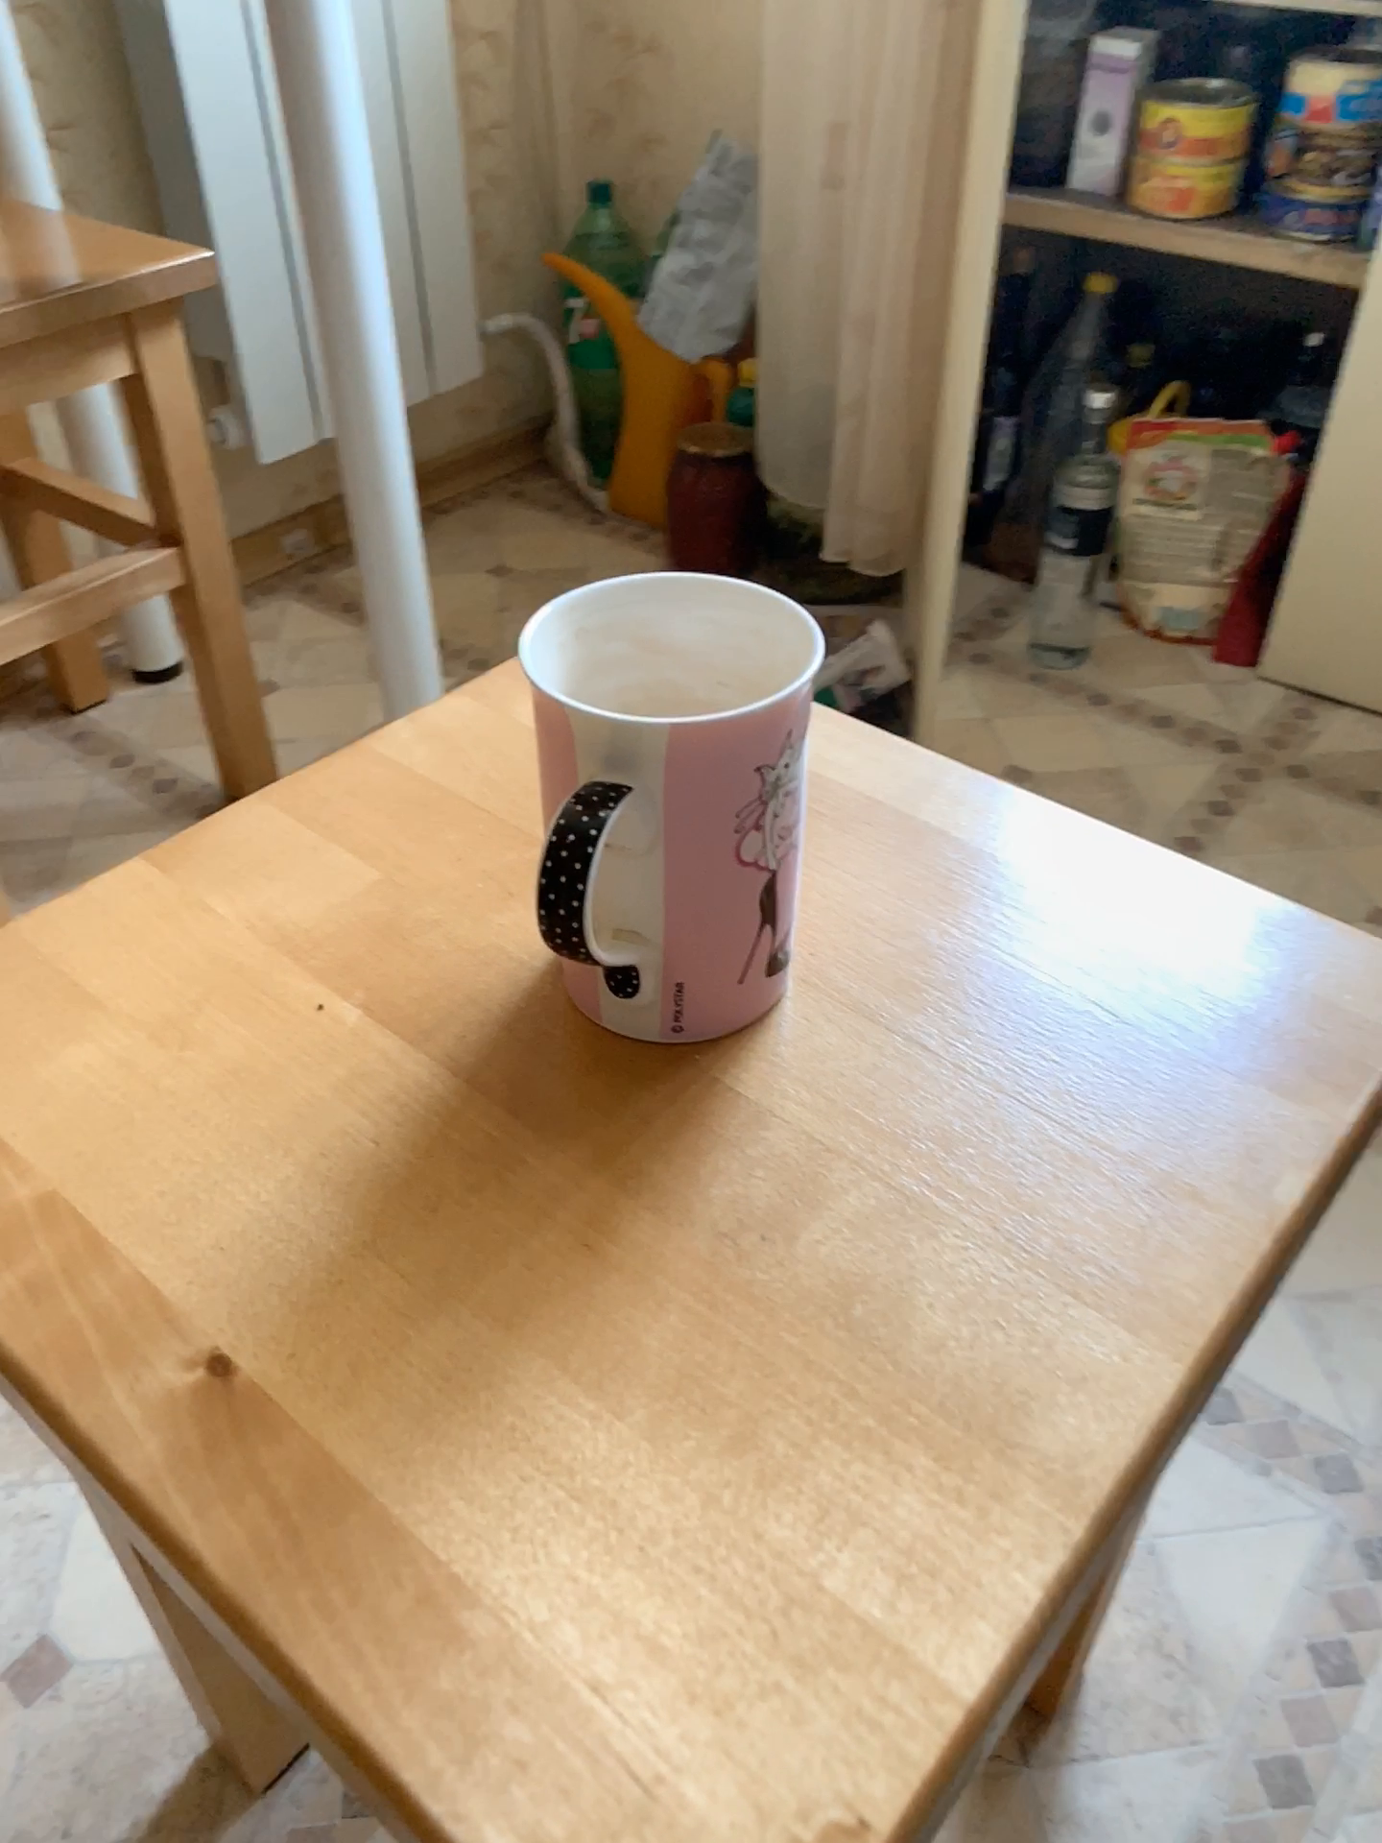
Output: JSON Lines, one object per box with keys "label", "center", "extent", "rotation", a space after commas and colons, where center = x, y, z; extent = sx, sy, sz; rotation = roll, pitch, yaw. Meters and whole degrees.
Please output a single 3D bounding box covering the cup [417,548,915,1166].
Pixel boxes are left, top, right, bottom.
{"label": "cup", "center": [-0.001, -0.021, 0.366], "extent": [0.080, 0.099, 0.111], "rotation": [15, 41, 18]}
